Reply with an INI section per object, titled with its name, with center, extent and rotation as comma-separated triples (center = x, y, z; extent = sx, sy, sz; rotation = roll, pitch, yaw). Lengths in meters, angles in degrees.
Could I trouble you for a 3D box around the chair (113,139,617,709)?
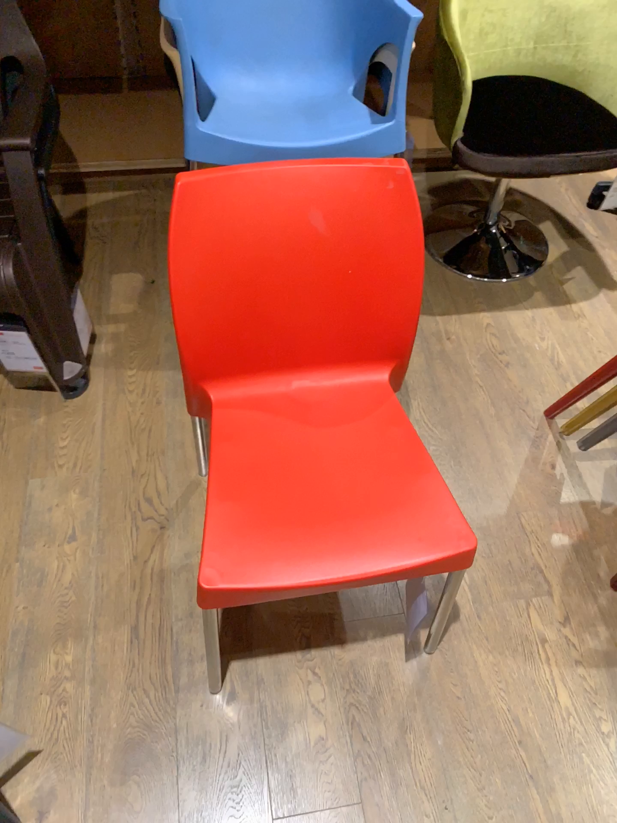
[chair]
center = 0.007, 0.067, 1.111
extent = 0.520, 0.788, 0.591
rotation = -8, 54, -9
